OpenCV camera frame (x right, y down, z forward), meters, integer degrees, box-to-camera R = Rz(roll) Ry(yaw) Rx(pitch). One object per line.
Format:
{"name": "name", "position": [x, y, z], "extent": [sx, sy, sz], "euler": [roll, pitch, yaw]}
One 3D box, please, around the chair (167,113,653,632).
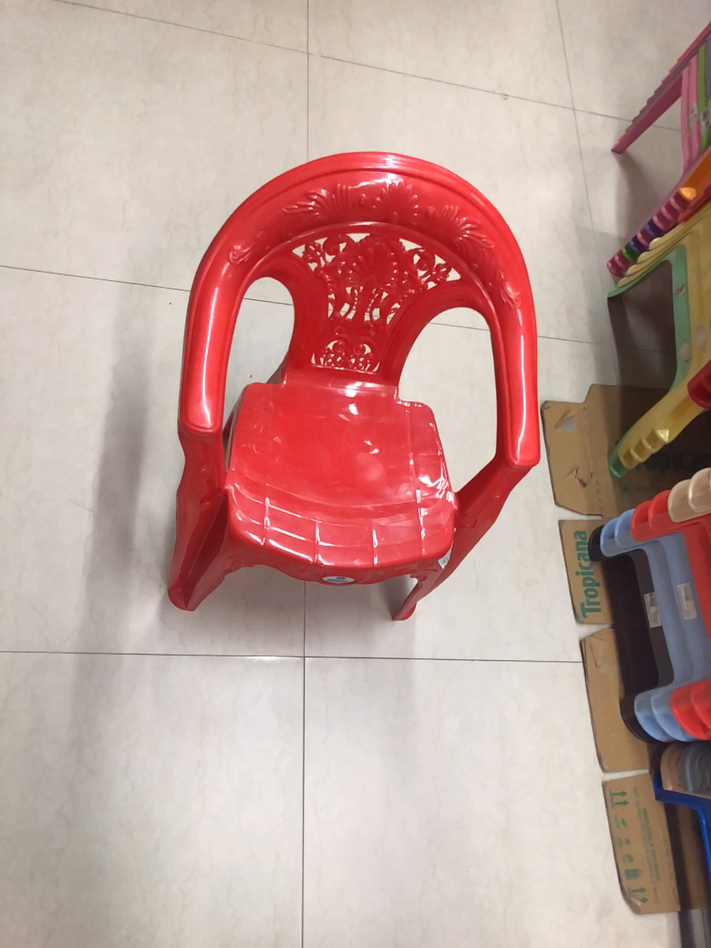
{"name": "chair", "position": [0.001, -0.051, 0.917], "extent": [0.390, 0.508, 0.371], "euler": [5, 68, -14]}
